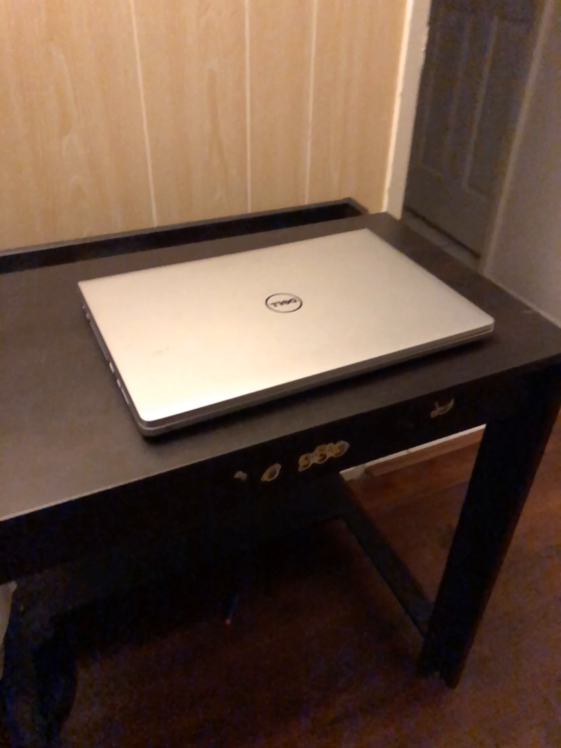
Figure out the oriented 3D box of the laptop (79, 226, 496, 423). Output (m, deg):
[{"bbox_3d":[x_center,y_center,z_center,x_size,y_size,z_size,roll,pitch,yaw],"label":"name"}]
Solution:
[{"bbox_3d":[0.000,-0.077,0.657,0.370,0.003,0.250,-16,41,-21],"label":"laptop"}]
